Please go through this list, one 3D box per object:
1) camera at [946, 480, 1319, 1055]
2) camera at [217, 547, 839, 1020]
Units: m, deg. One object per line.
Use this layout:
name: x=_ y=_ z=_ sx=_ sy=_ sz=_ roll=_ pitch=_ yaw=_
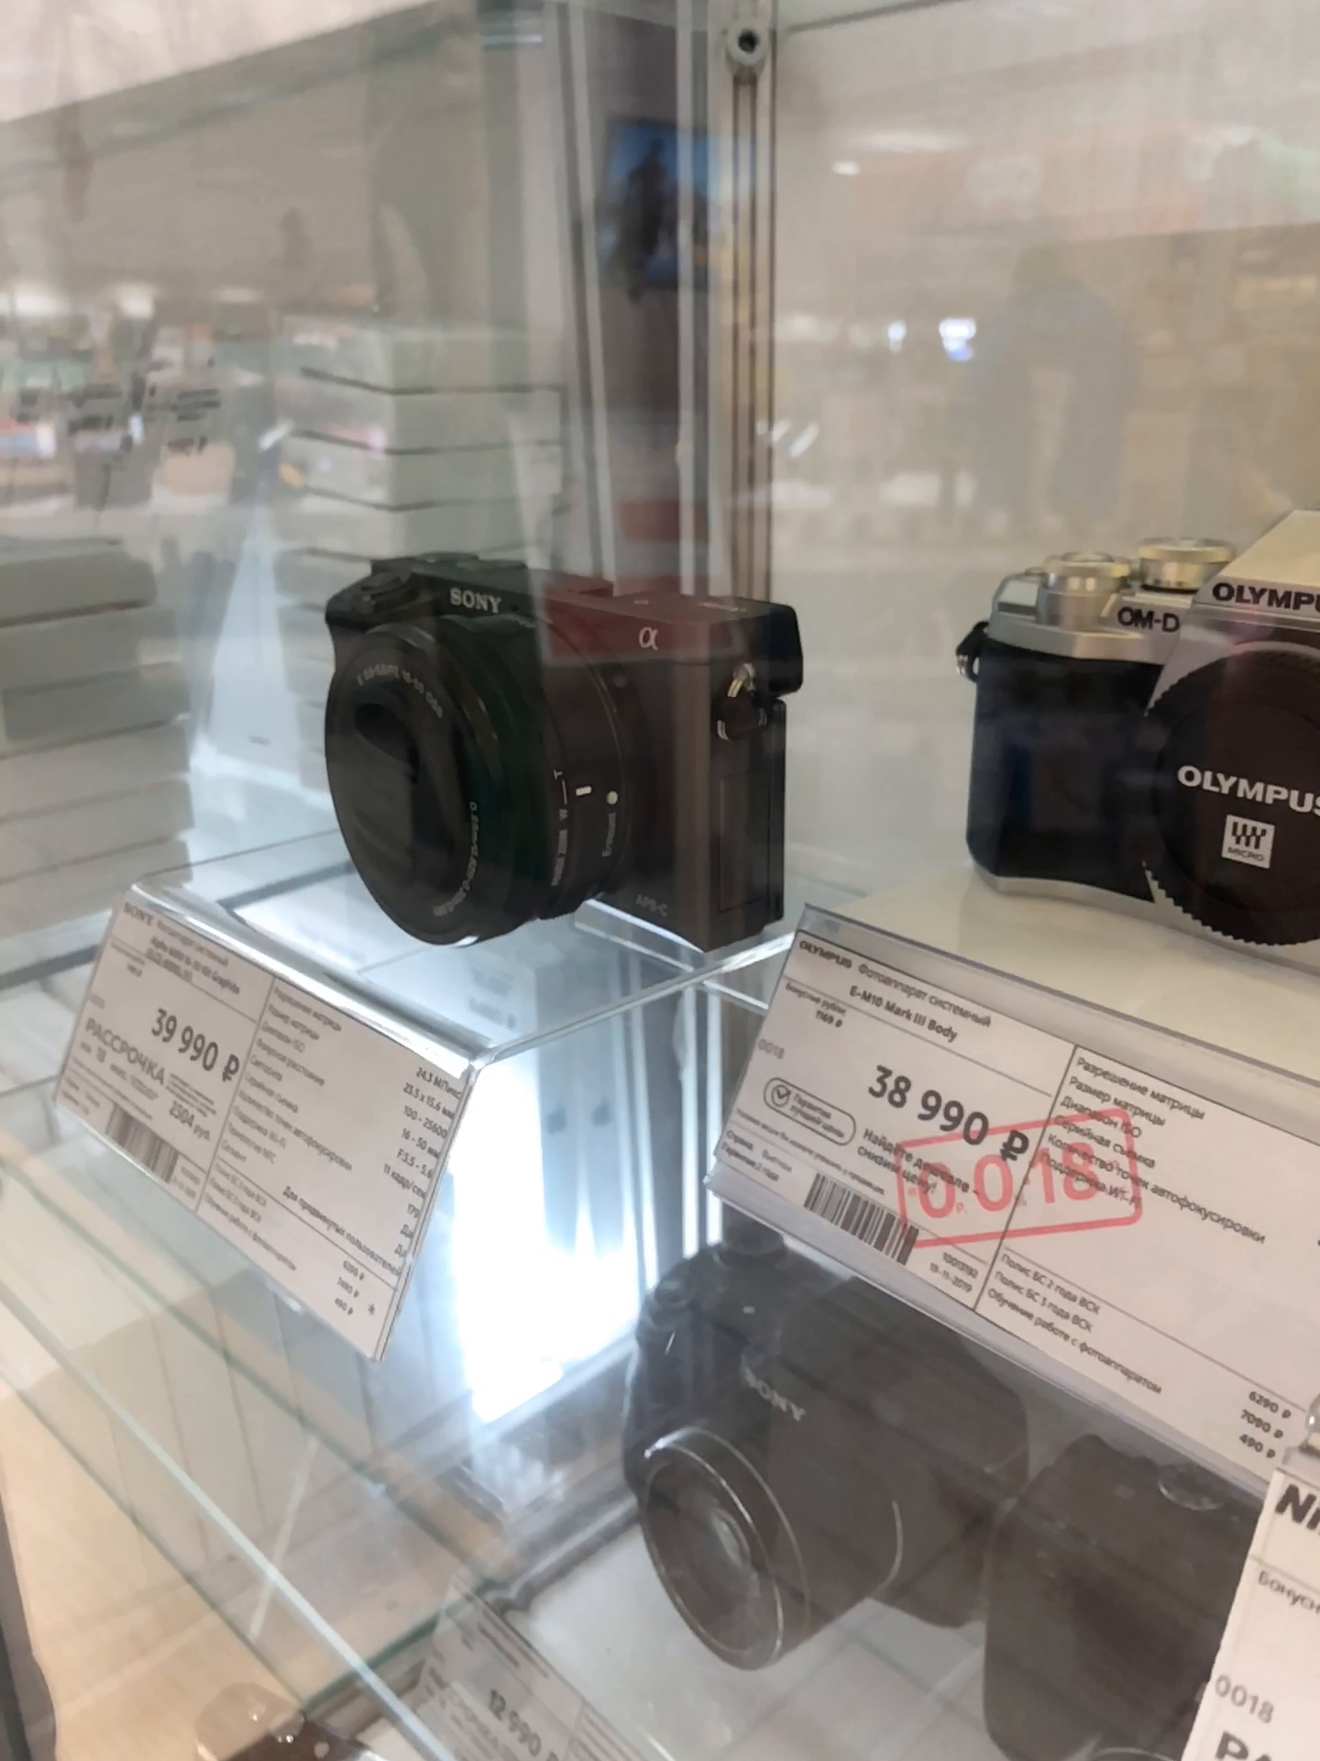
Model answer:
camera: x=0.135 y=-0.034 z=0.296 sx=0.087 sy=0.081 sz=0.123 roll=-17 pitch=24 yaw=-39
camera: x=-0.032 y=-0.030 z=0.322 sx=0.066 sy=0.070 sz=0.130 roll=-17 pitch=24 yaw=-39
